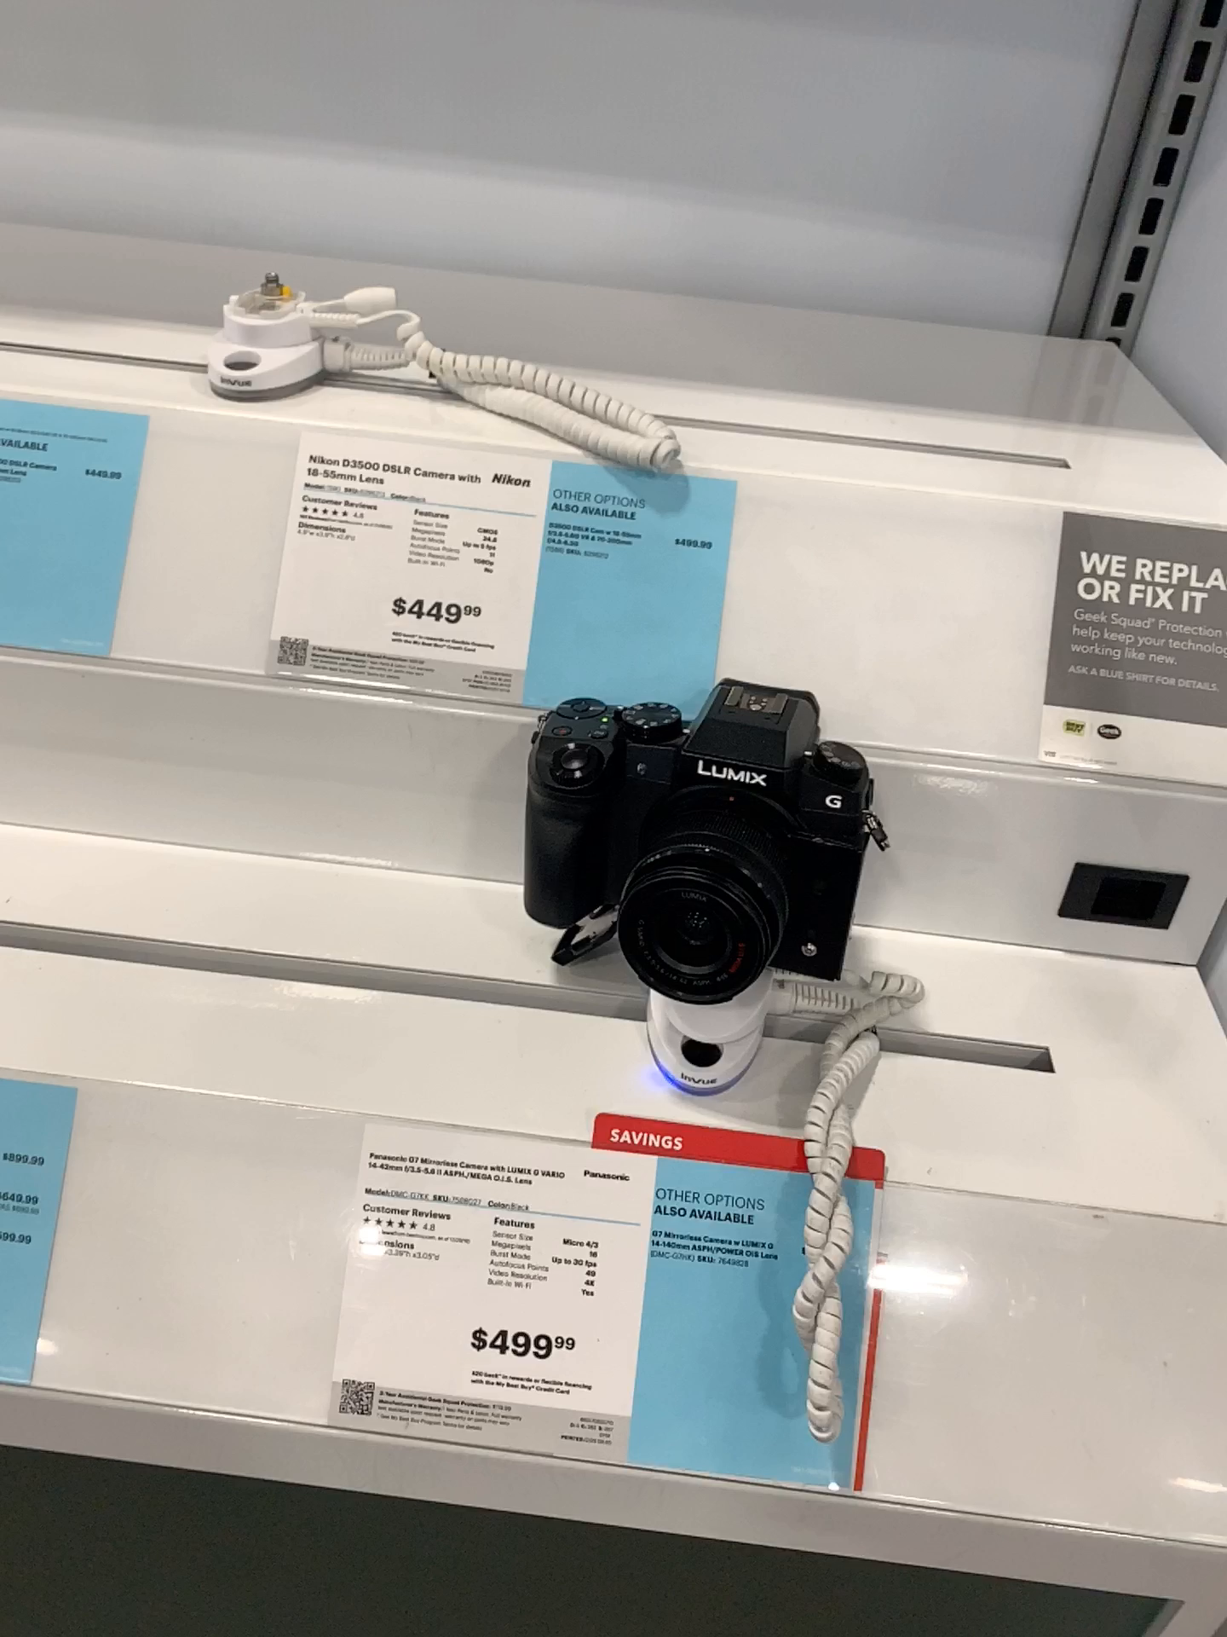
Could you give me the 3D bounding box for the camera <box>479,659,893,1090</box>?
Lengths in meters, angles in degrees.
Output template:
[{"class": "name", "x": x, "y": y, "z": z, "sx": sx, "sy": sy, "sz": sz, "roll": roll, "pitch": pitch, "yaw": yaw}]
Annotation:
[{"class": "camera", "x": 0.028, "y": 0.014, "z": 0.454, "sx": 0.118, "sy": 0.080, "sz": 0.115, "roll": 13, "pitch": 36, "yaw": 11}]
